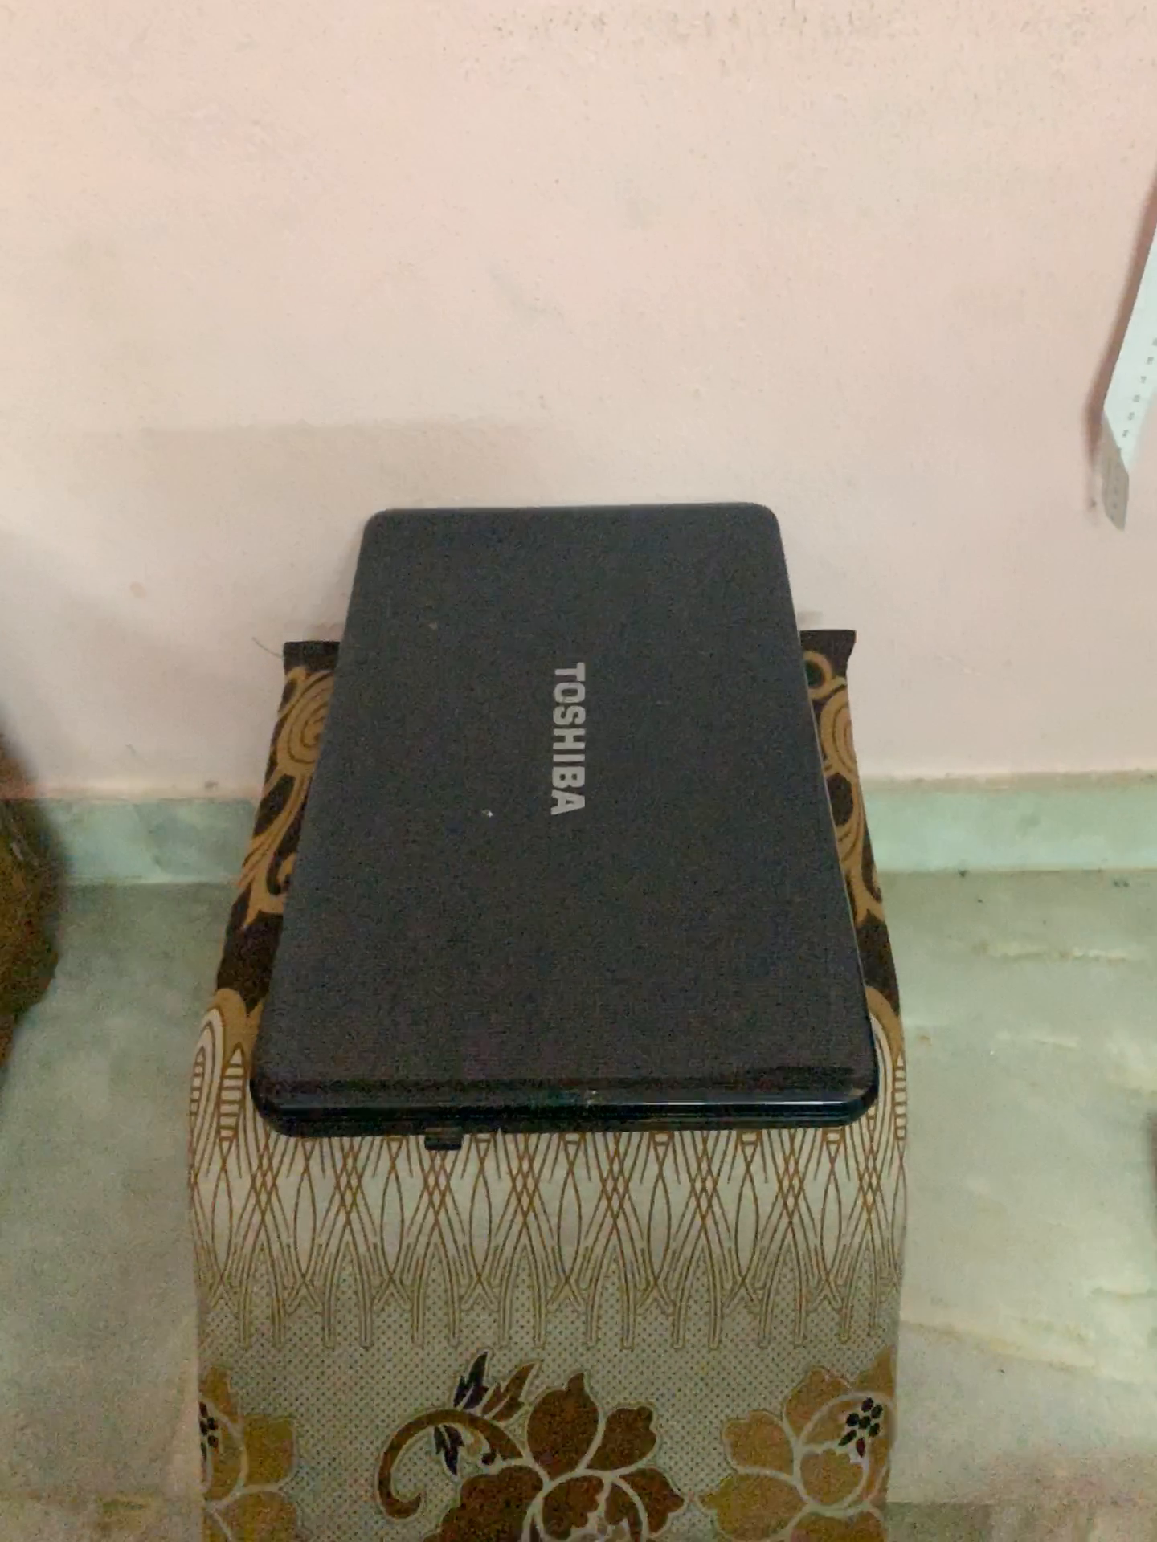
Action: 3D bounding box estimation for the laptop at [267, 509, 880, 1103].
[{"bbox_3d":[-0.005,-0.014,0.557,0.222,0.001,0.372,-2,46,1],"label":"laptop"}]
